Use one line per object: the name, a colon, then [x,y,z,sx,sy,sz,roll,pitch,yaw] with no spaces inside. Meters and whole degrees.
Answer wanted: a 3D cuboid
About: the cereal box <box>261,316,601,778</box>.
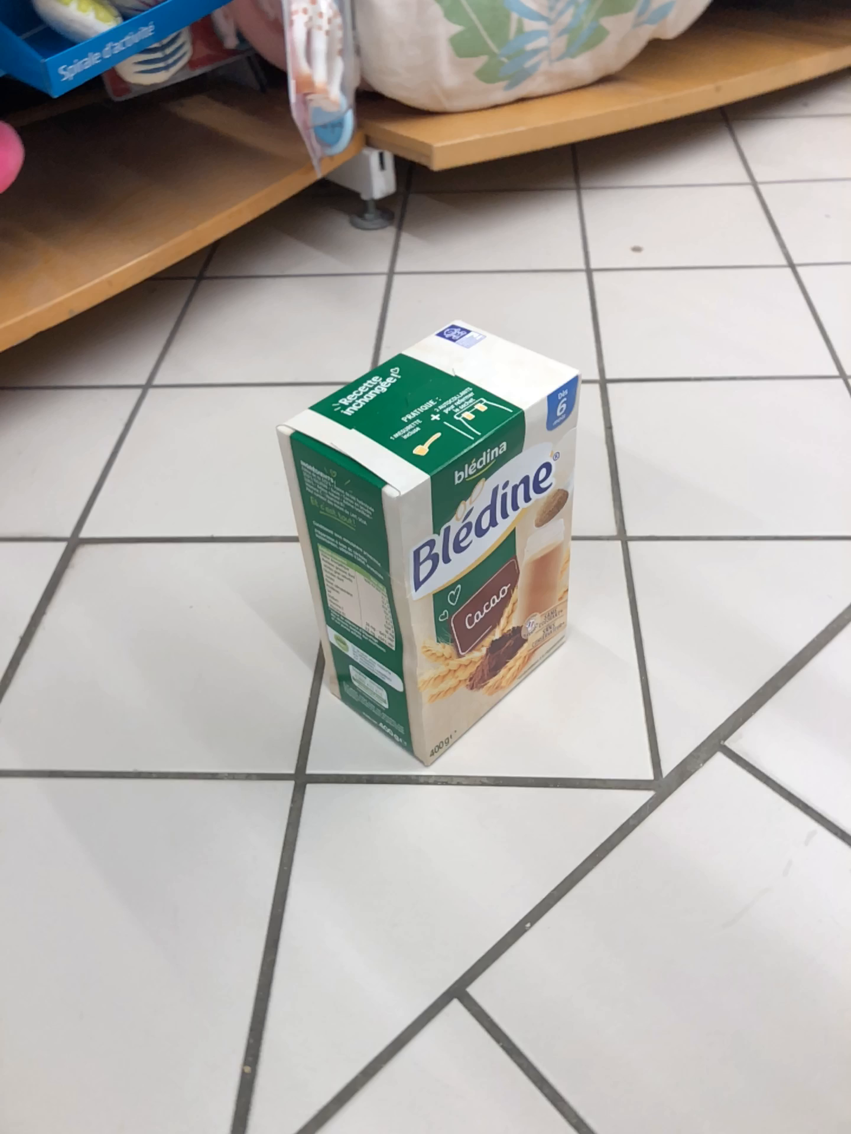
cereal box: [0.010,-0.009,0.510,0.090,0.189,0.141,32,54,32]
